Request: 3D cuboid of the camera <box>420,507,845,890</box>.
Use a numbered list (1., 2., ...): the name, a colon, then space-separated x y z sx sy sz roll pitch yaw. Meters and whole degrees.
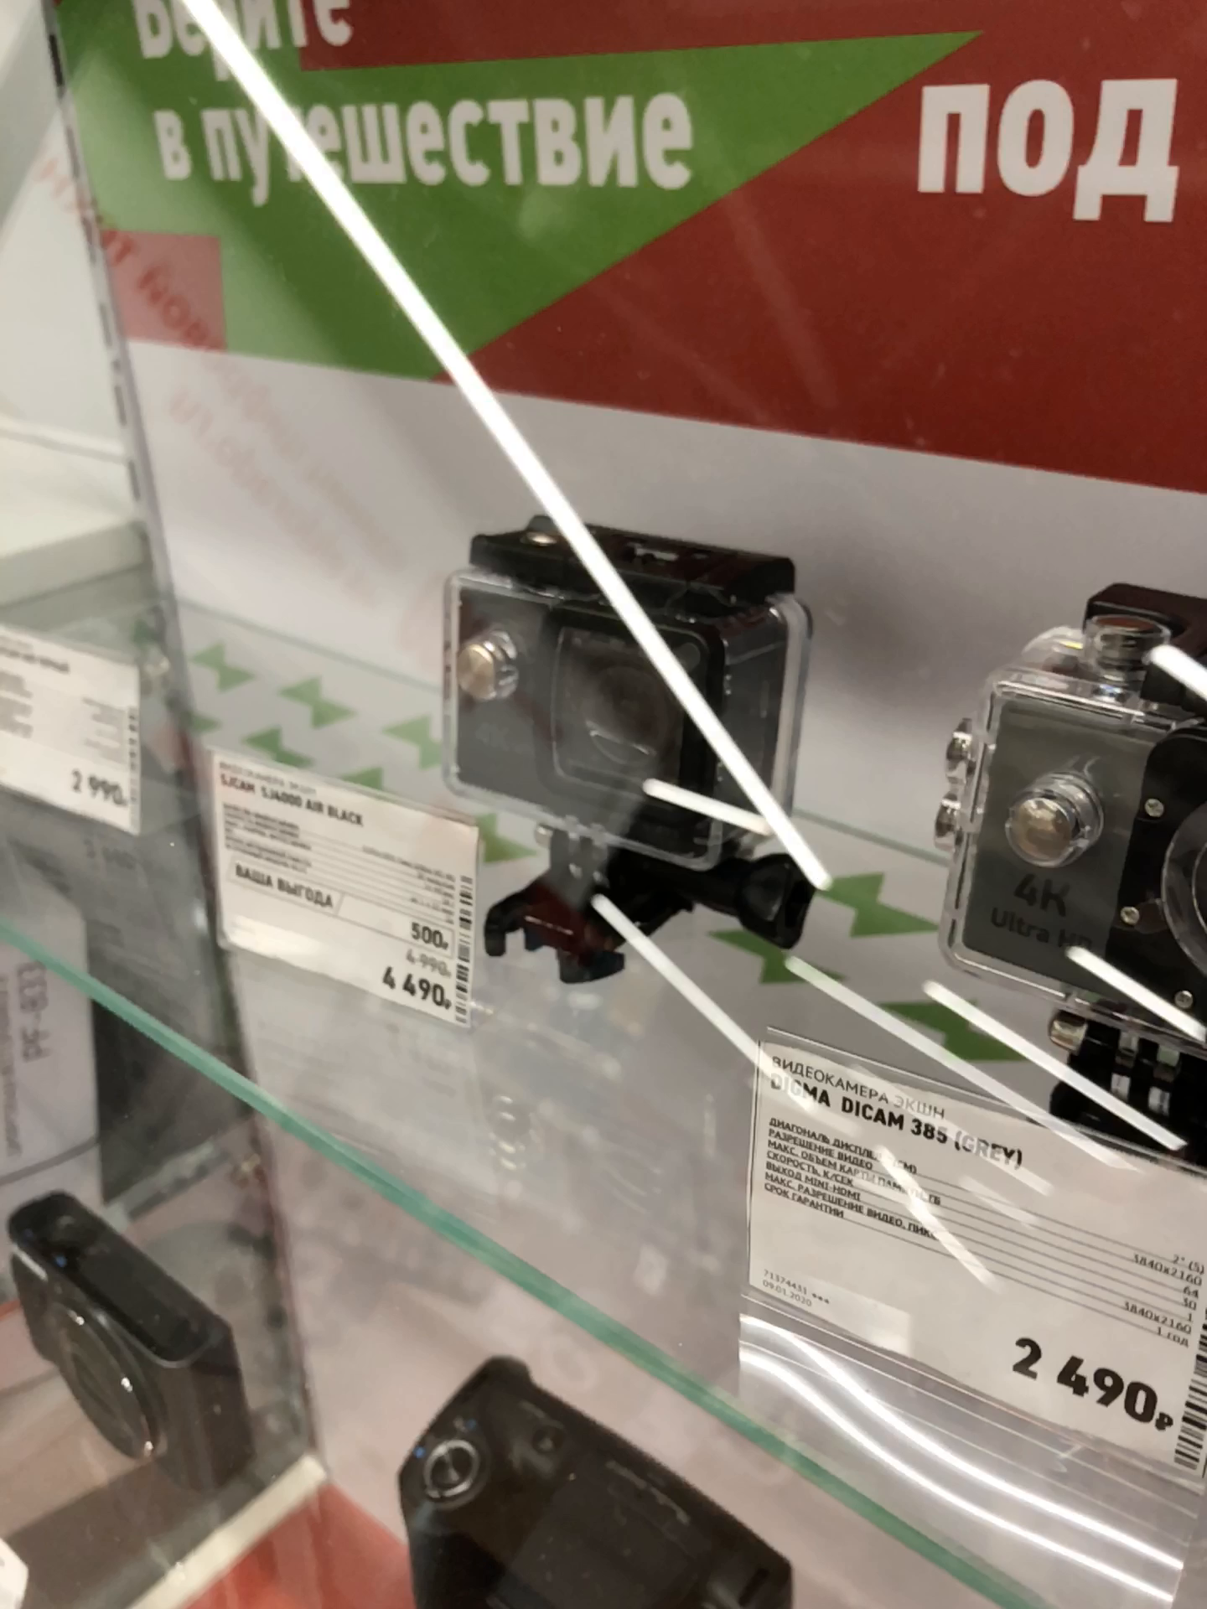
1. camera: 0.003 -0.024 0.264 0.074 0.055 0.033 15 24 30
